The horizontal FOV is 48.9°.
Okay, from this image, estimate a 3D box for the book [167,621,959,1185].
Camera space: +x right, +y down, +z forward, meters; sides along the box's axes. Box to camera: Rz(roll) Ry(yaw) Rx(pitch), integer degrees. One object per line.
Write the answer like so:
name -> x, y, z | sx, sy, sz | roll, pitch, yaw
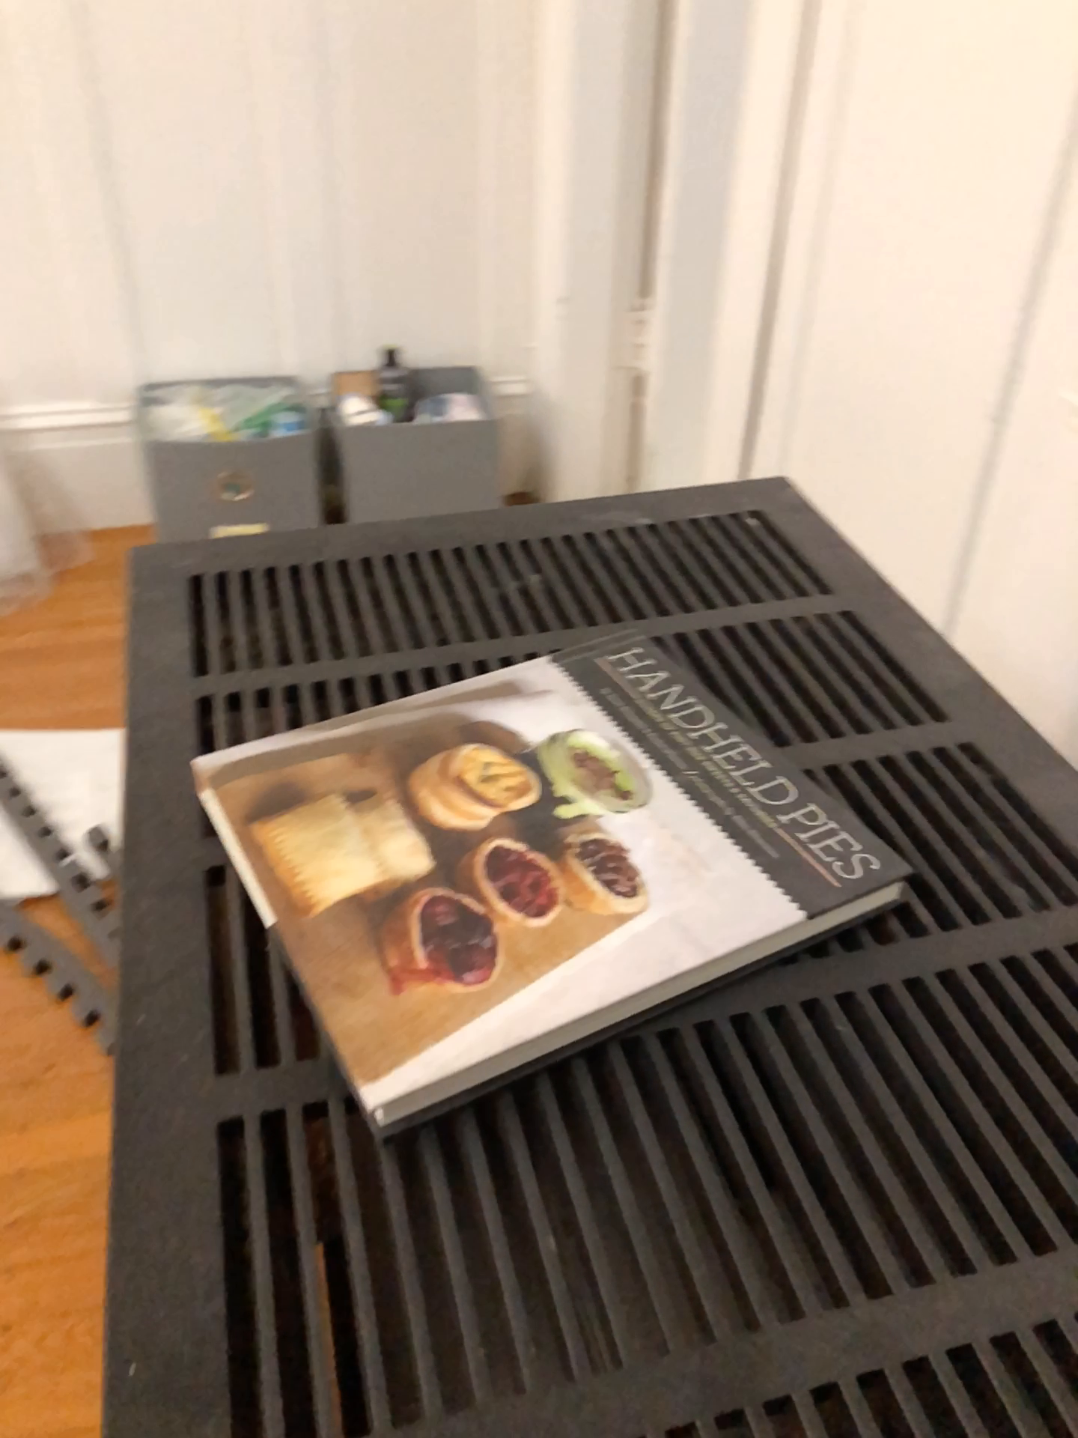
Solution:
book -> 0.000, 0.044, 0.453 | 0.230, 0.020, 0.201 | -17, 39, -24
